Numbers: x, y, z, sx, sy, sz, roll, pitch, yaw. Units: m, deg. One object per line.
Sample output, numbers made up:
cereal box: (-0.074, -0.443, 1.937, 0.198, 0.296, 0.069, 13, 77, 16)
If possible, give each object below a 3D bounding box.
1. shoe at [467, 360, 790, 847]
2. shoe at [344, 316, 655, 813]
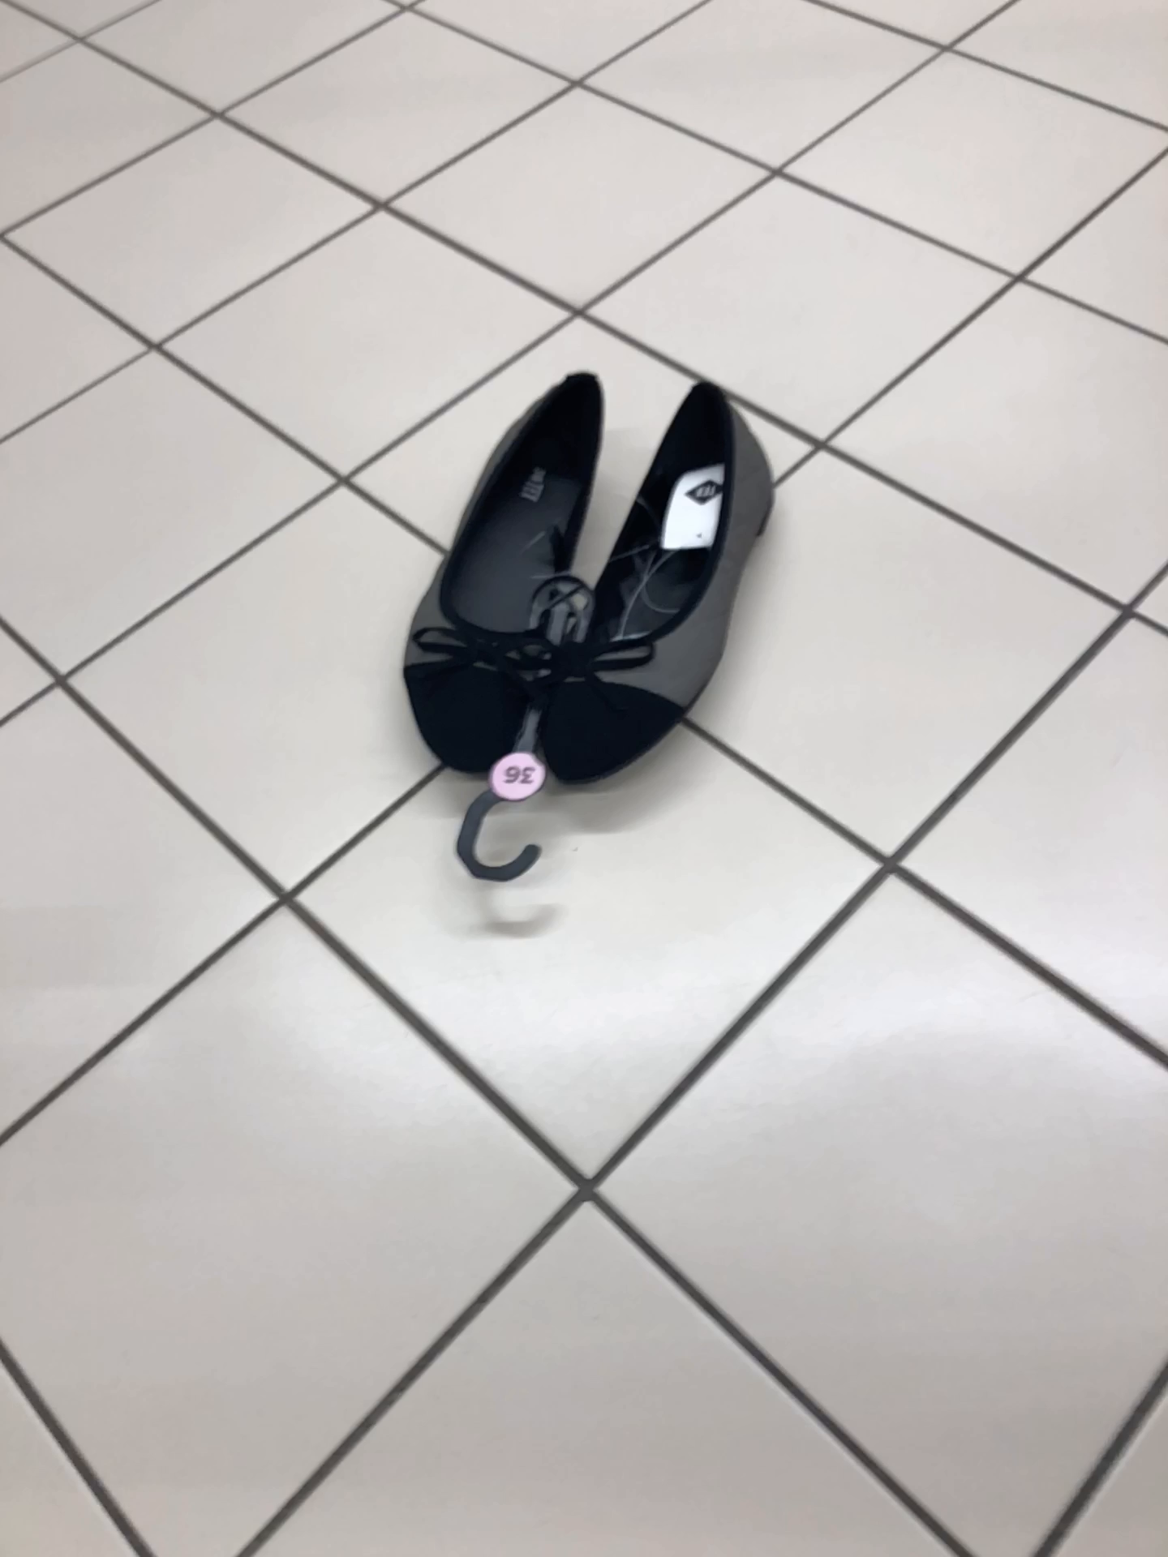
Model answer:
shoe: (0.032, -0.092, 0.636, 0.078, 0.081, 0.243, 2, 54, 25)
shoe: (-0.039, -0.114, 0.656, 0.078, 0.081, 0.243, 21, 57, -7)
